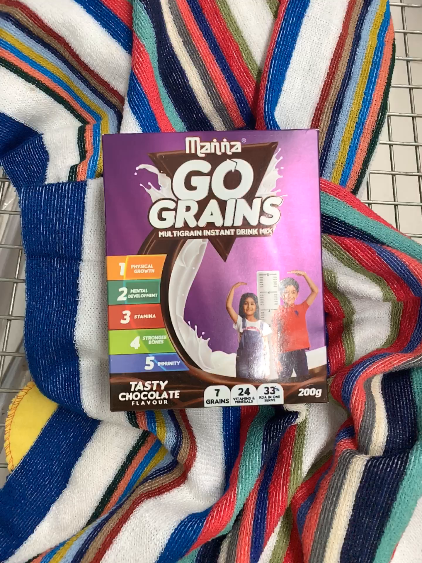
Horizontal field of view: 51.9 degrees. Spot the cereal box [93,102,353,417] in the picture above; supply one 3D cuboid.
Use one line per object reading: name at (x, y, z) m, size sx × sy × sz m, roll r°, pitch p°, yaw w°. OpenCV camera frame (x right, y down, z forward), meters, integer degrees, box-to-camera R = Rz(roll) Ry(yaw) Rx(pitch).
cereal box at (0.007, -0.013, 0.263) m, size 0.140 × 0.050 × 0.170 m, roll -1°, pitch 91°, yaw -3°
